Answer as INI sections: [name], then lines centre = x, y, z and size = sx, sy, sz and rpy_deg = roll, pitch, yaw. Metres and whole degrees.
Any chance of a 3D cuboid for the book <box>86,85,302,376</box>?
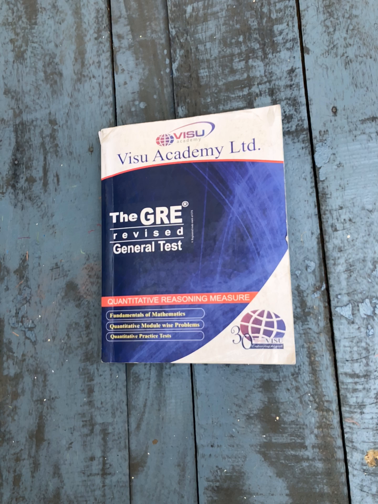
[book]
centre = 0.004, -0.019, 0.466
size = 0.220, 0.060, 0.290
rpy_deg = -3, 80, 15
